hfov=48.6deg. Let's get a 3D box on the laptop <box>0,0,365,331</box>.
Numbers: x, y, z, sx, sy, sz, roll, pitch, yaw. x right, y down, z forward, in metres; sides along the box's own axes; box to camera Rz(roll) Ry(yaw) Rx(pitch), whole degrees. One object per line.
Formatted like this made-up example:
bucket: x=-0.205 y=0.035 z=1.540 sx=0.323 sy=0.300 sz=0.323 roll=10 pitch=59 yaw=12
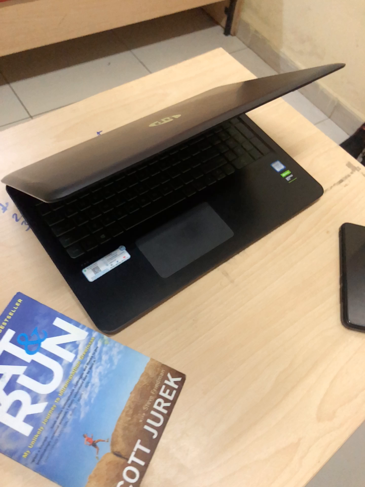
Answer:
laptop: x=0.001 y=-0.115 z=0.491 sx=0.360 sy=0.167 sz=0.231 roll=-32 pitch=68 yaw=-23
